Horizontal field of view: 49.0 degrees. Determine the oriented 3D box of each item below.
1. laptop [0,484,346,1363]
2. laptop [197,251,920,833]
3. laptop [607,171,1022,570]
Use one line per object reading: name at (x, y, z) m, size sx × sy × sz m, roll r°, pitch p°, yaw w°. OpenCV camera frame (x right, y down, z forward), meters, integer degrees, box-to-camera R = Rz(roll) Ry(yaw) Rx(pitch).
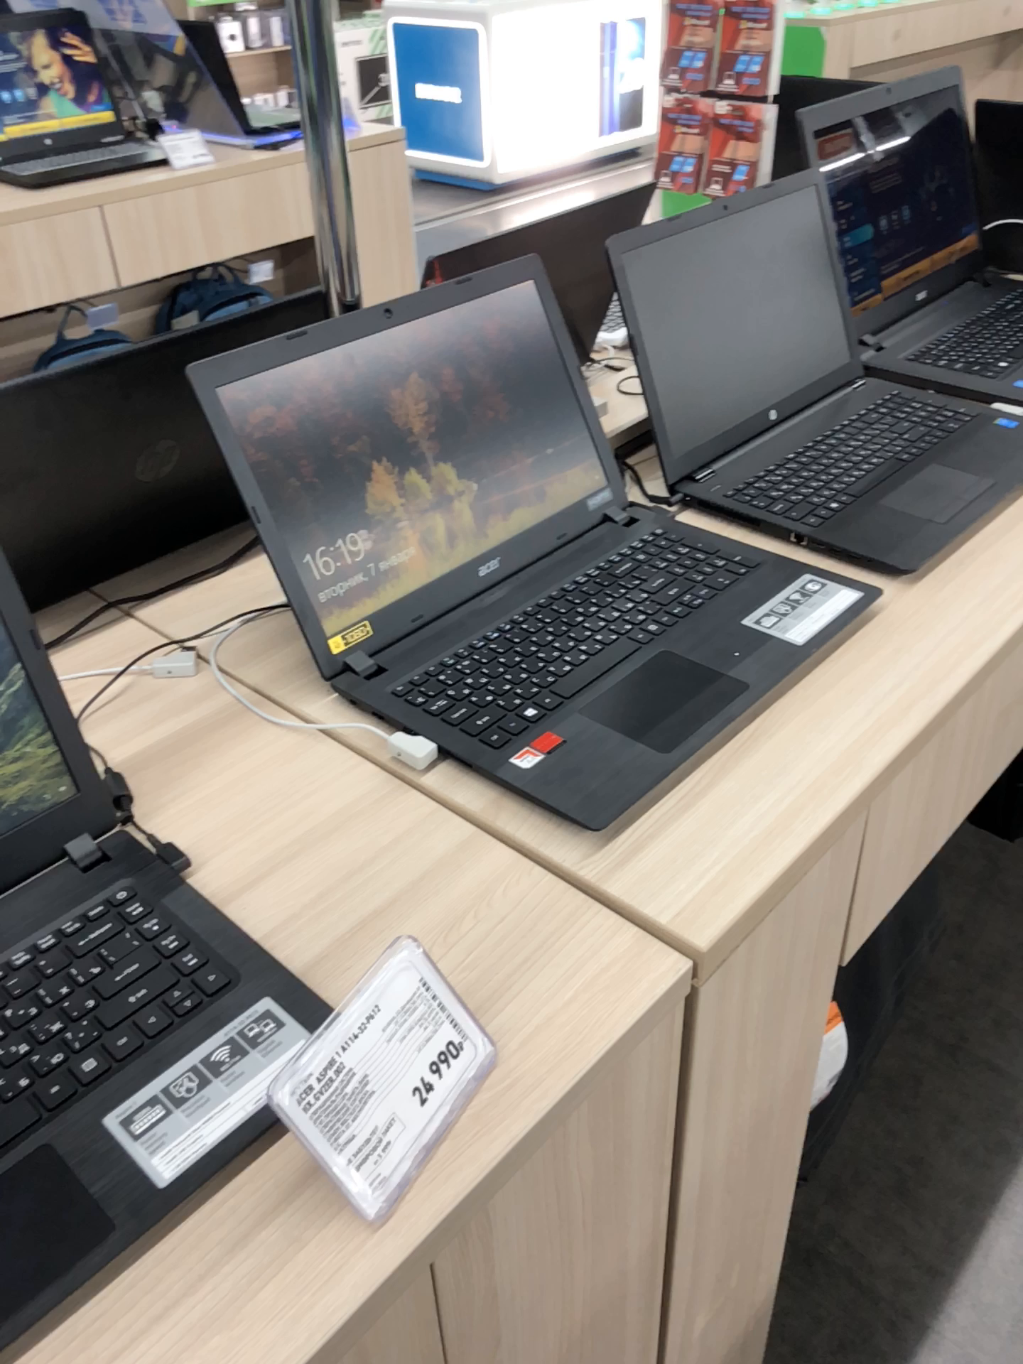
laptop at (-0.300, 0.104, 0.505) m, size 0.301 × 0.214 × 0.307 m, roll 28°, pitch 44°, yaw 34°
laptop at (0.040, -0.147, 0.849) m, size 0.368 × 0.208 × 0.374 m, roll 26°, pitch 44°, yaw 34°
laptop at (0.333, -0.330, 1.086) m, size 0.339 × 0.212 × 0.379 m, roll 27°, pitch 44°, yaw 36°
